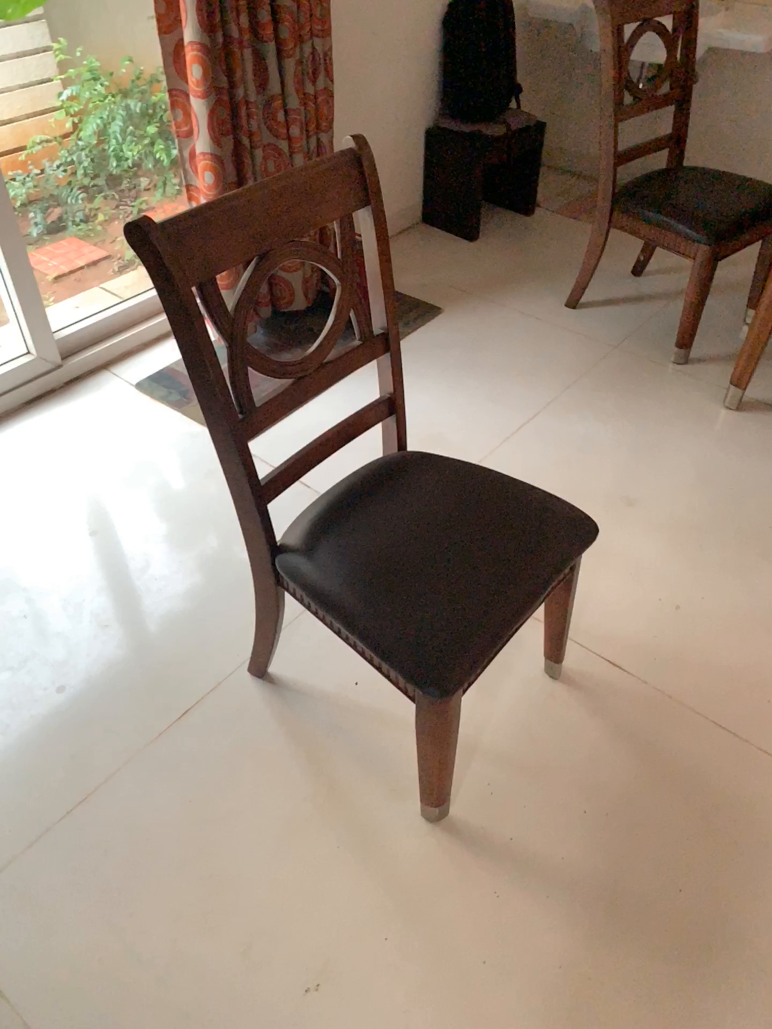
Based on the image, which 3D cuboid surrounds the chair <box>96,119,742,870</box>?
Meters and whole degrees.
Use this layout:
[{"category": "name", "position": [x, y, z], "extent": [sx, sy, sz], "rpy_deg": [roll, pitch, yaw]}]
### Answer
[{"category": "chair", "position": [0.046, -0.014, 1.392], "extent": [0.641, 1.026, 0.571], "rpy_deg": [31, 51, 28]}]
